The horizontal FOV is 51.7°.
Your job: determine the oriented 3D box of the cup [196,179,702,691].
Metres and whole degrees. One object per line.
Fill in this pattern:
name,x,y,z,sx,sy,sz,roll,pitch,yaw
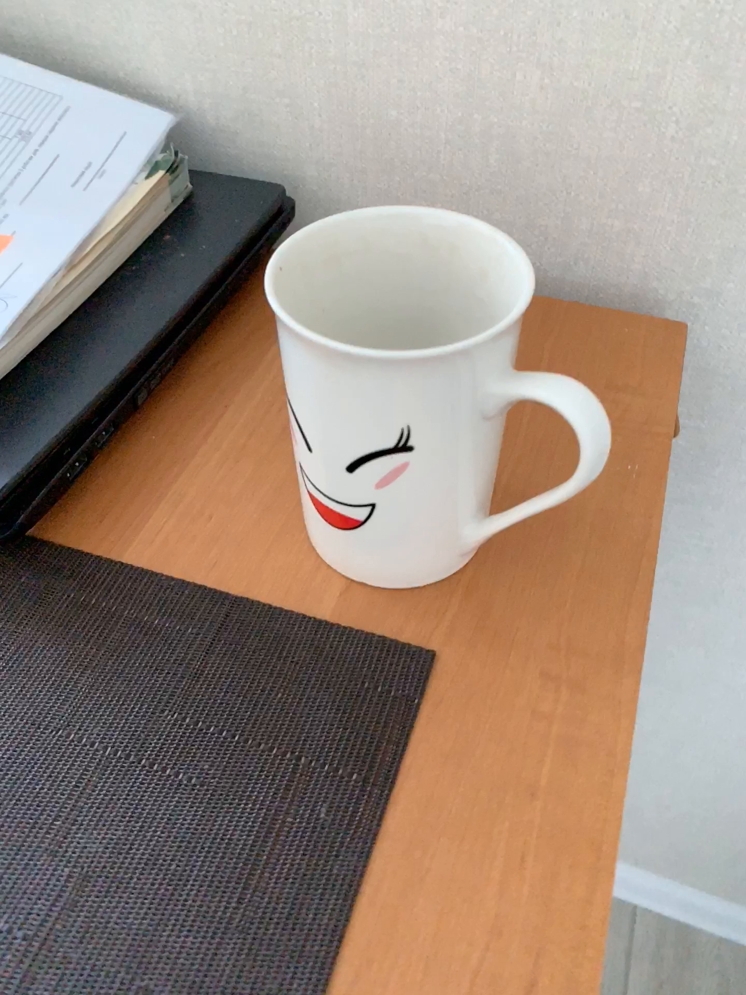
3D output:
cup,0.019,-0.023,0.237,0.107,0.095,0.080,30,53,25
